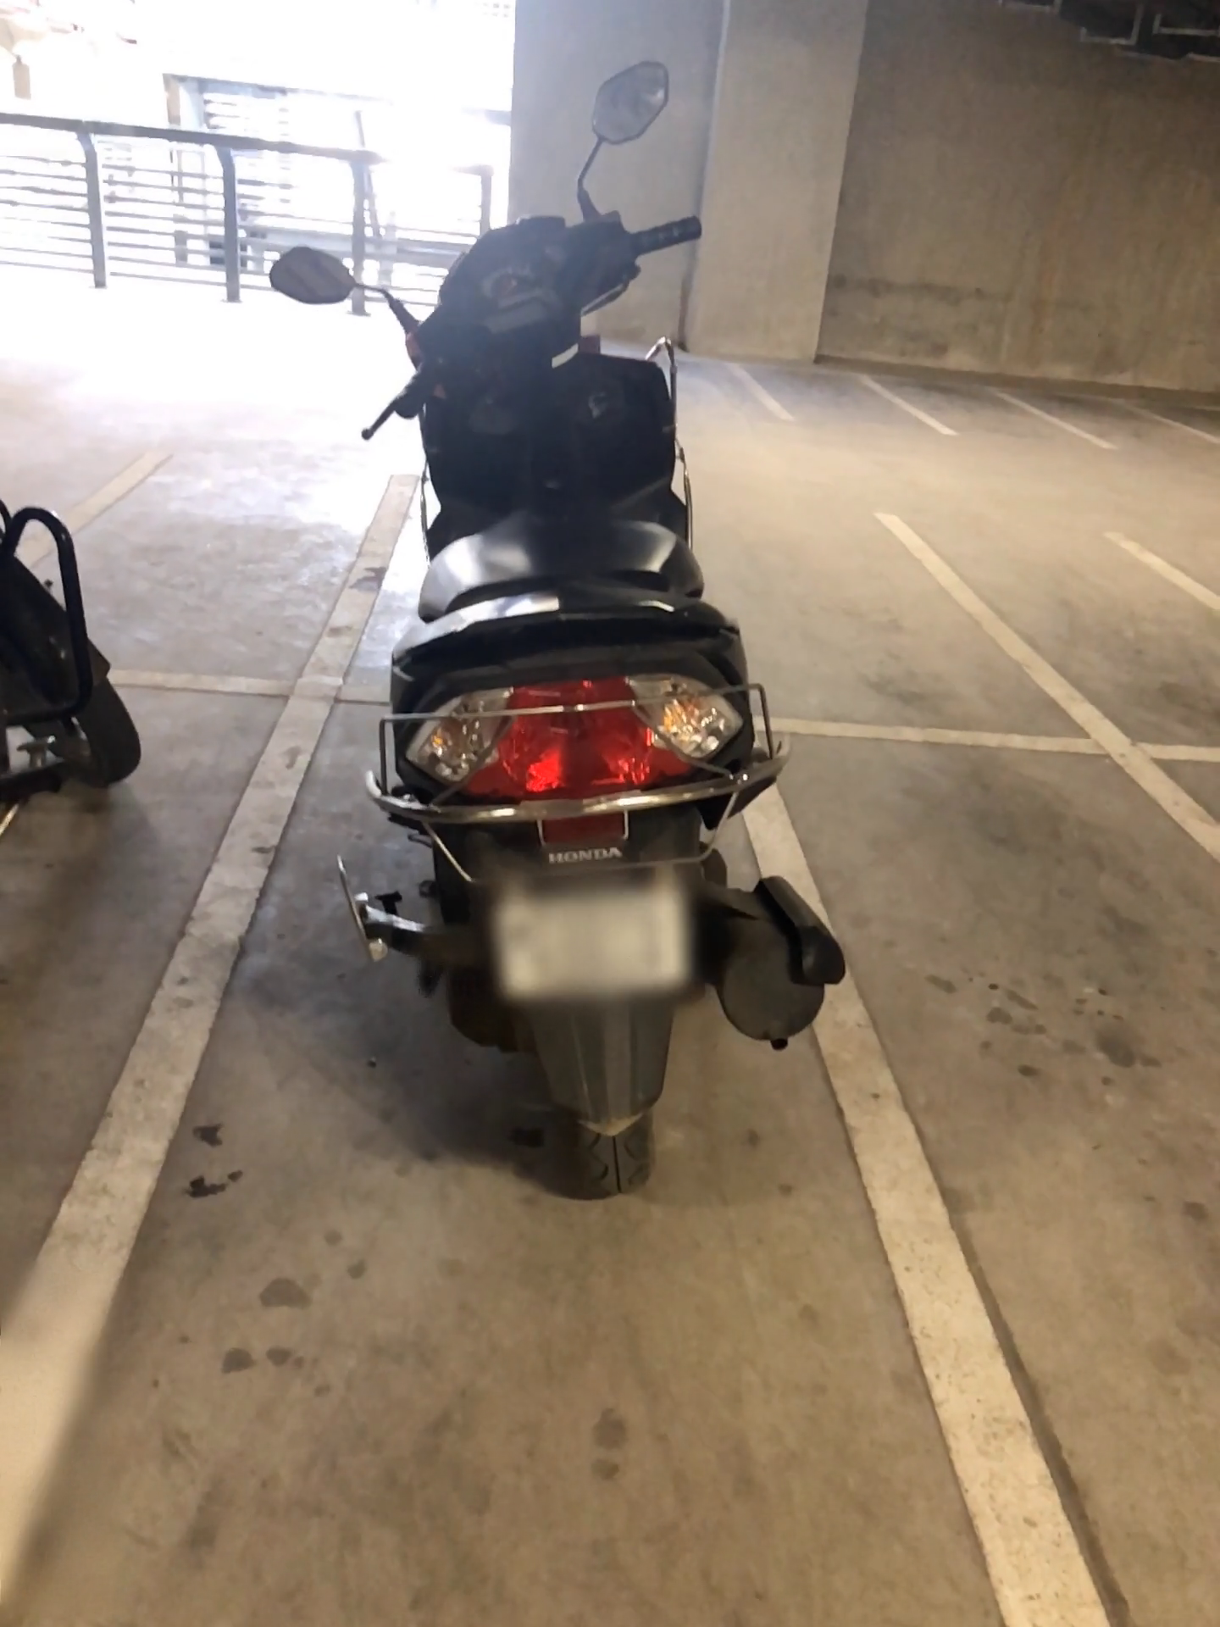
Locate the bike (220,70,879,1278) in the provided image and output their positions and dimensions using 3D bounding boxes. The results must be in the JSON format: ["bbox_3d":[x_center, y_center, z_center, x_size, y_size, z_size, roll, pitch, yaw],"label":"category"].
[{"bbox_3d":[-0.199,-0.483,2.246,0.582,1.187,1.962,2,30,-8],"label":"bike"}]
